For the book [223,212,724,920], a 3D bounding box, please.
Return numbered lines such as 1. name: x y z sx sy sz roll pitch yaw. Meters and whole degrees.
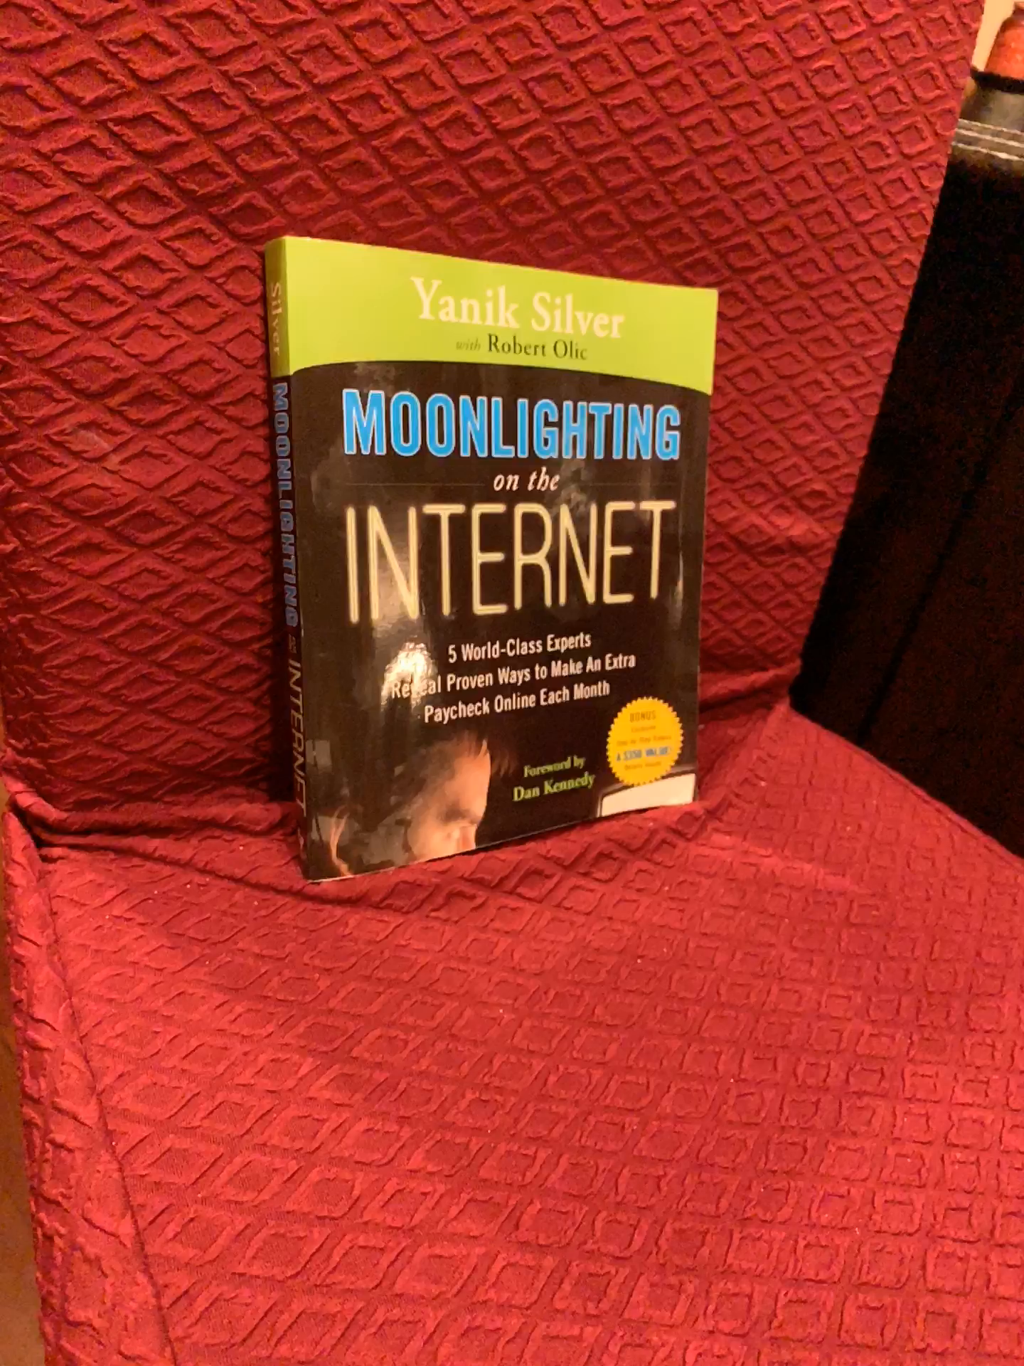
1. book: -0.005 -0.047 0.430 0.200 0.239 0.040 -8 13 -32
